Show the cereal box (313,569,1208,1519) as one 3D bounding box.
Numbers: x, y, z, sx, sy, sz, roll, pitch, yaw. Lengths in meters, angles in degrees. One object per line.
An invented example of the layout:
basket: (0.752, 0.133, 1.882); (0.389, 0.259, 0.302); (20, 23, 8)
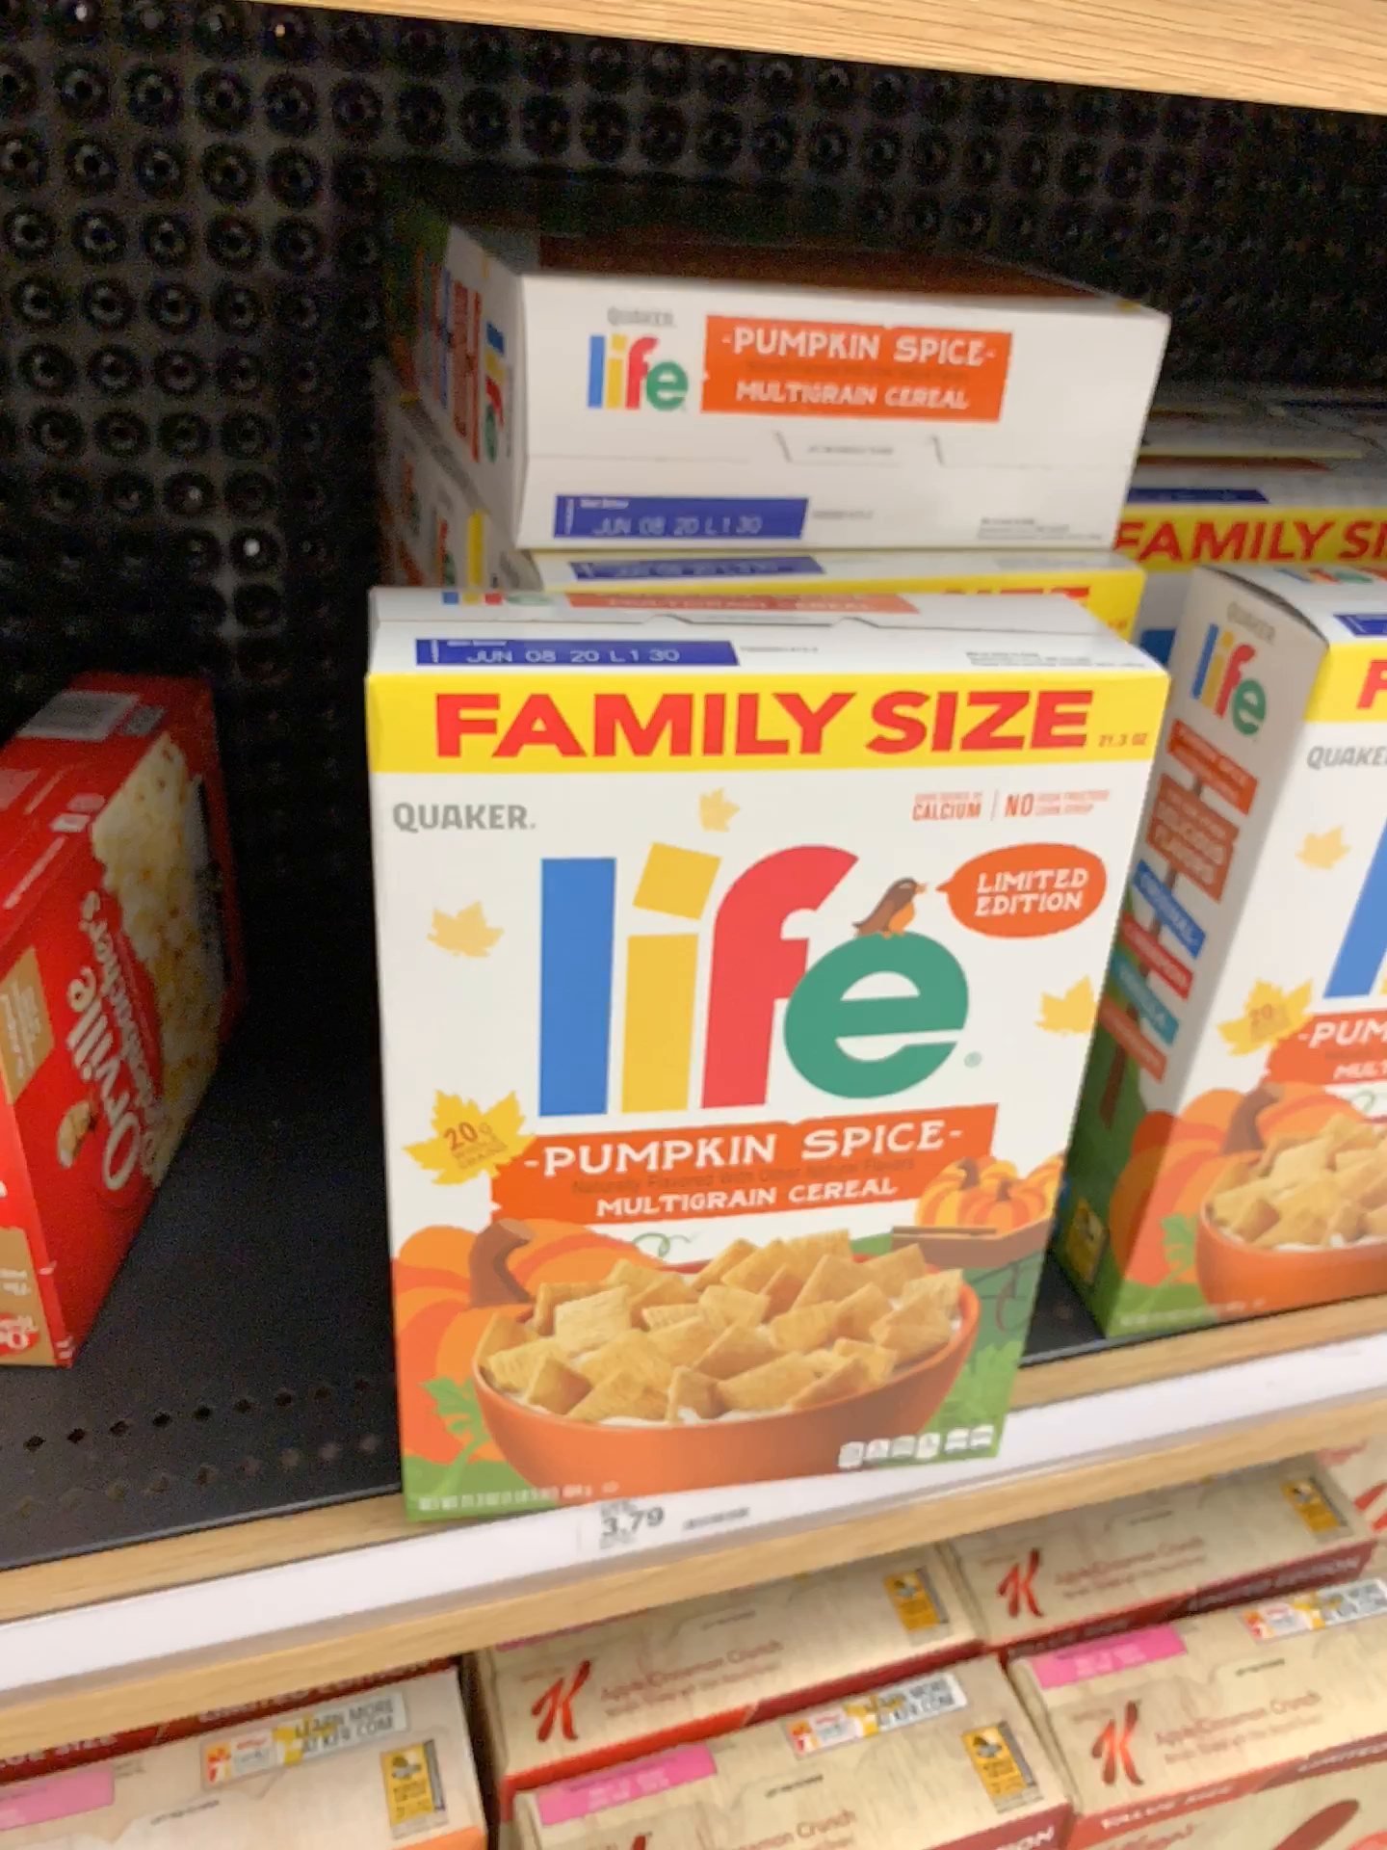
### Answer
cereal box: (0.005, 0.037, 0.400); (0.200, 0.249, 0.070); (-1, 27, -11)
